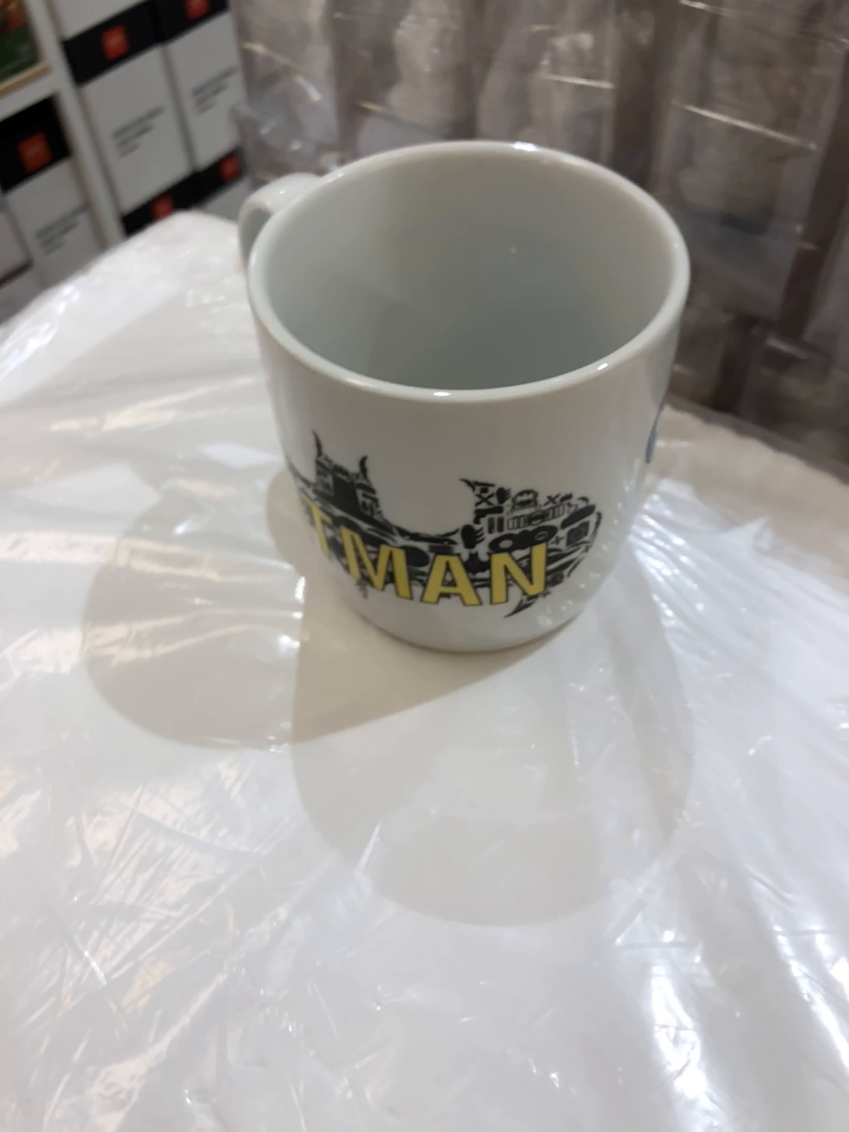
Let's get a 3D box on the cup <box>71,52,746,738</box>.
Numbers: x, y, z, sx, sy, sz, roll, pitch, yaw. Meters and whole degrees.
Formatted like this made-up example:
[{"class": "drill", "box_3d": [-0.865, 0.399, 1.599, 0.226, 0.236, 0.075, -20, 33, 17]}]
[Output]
[{"class": "cup", "box_3d": [-0.005, -0.042, 0.223, 0.080, 0.089, 0.110, -35, 58, -22]}]
